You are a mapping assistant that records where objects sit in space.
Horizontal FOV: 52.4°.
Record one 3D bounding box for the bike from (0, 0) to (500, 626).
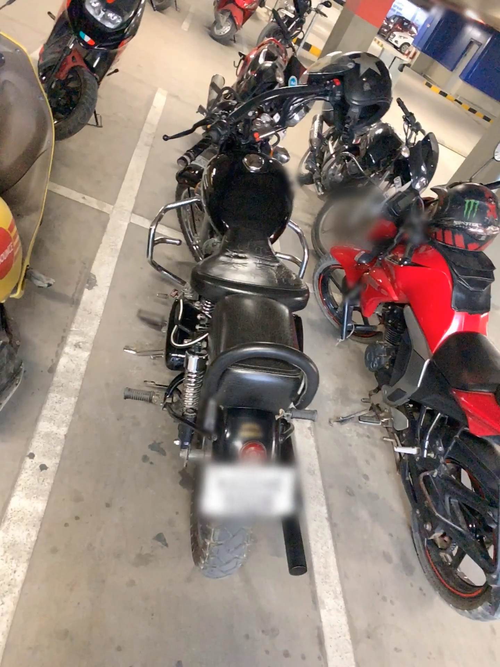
[{"bbox_3d":[-0.238,-0.345,1.814,0.799,1.304,2.030,14,37,-24],"label":"bike"}]
